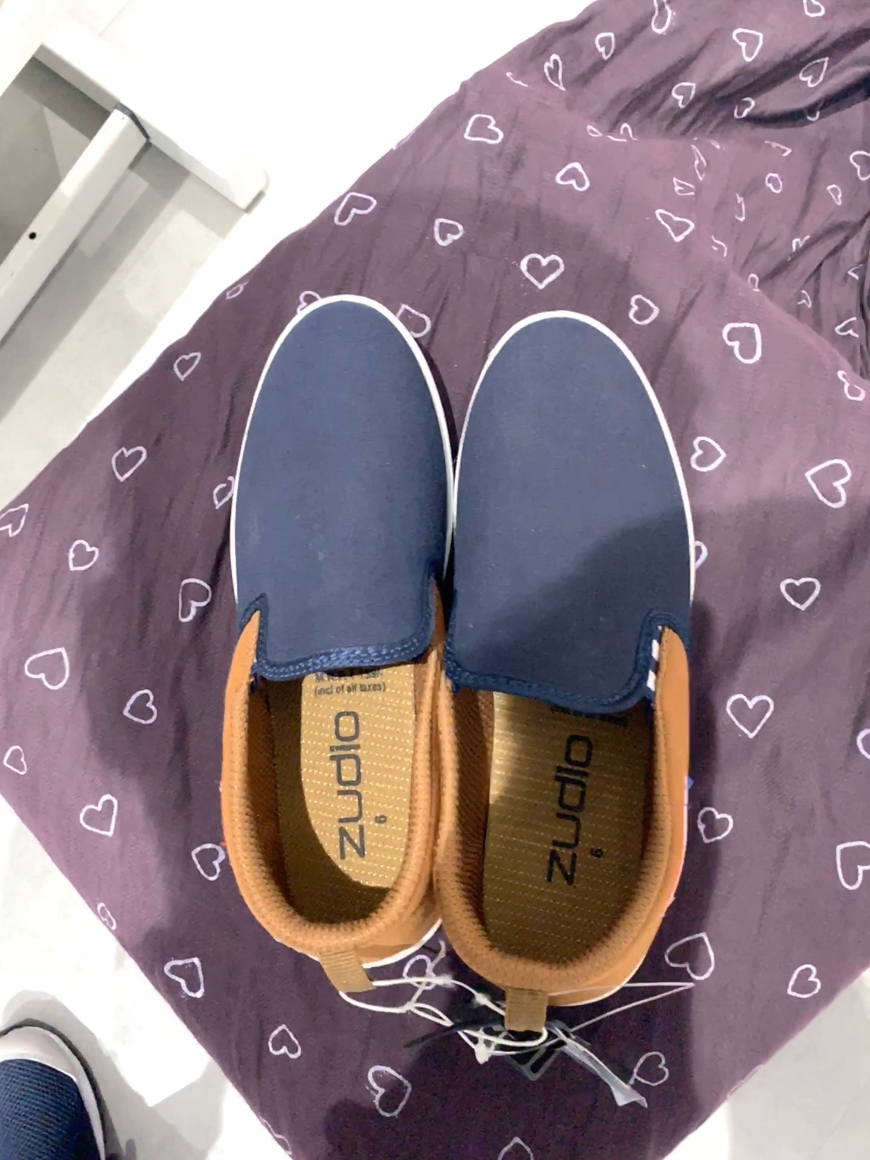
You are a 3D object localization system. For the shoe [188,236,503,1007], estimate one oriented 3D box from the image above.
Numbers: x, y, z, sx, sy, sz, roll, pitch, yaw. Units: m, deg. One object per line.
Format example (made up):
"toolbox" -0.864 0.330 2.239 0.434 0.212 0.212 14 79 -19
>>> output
"shoe" -0.034 0.013 0.348 0.100 0.060 0.270 -4 82 6

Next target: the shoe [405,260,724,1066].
"shoe" 0.049 0.022 0.334 0.100 0.060 0.270 2 83 6
